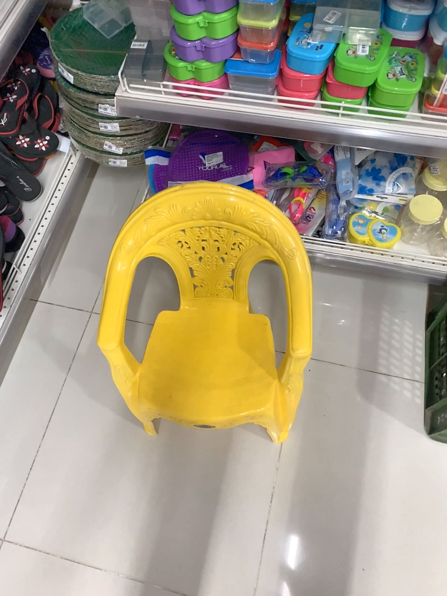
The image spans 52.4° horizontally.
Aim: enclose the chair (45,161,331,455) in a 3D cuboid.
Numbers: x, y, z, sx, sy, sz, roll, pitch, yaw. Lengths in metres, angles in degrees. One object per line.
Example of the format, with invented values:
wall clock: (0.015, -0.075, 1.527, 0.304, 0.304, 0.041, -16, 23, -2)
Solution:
chair: (-0.025, 0.049, 0.955, 0.420, 0.450, 0.460, 2, 66, 5)
